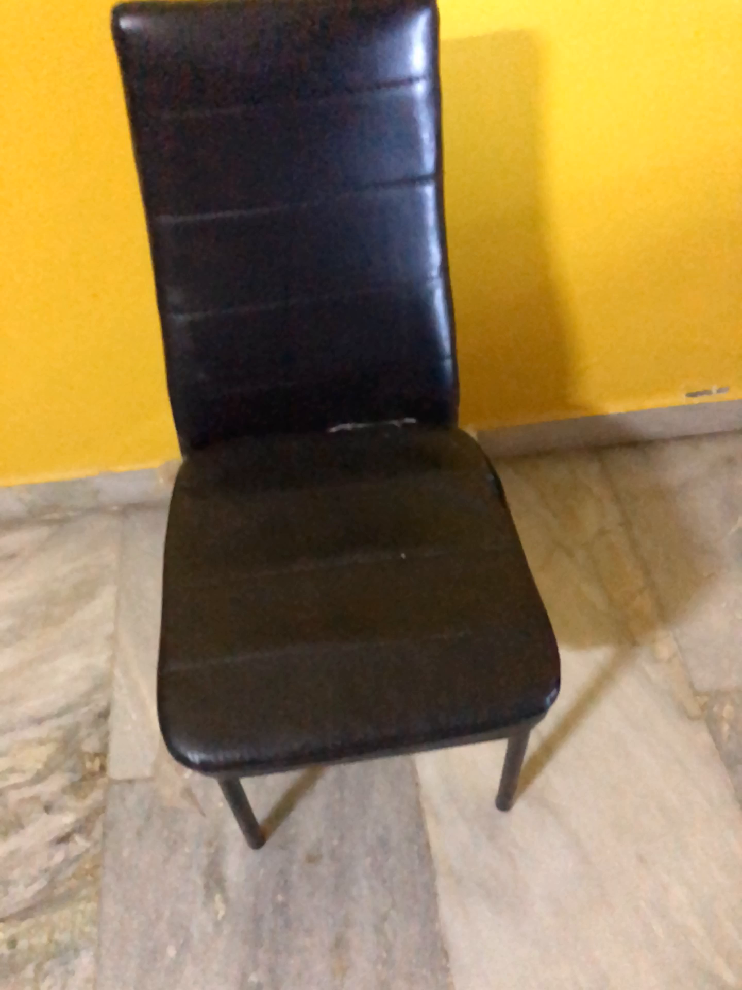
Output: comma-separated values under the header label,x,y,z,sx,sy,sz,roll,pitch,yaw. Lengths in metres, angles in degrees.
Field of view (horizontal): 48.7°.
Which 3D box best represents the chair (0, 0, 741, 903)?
label,x,y,z,sx,sy,sz,roll,pitch,yaw
chair,-0.030,0.029,0.903,0.480,0.904,0.533,-6,53,-4
